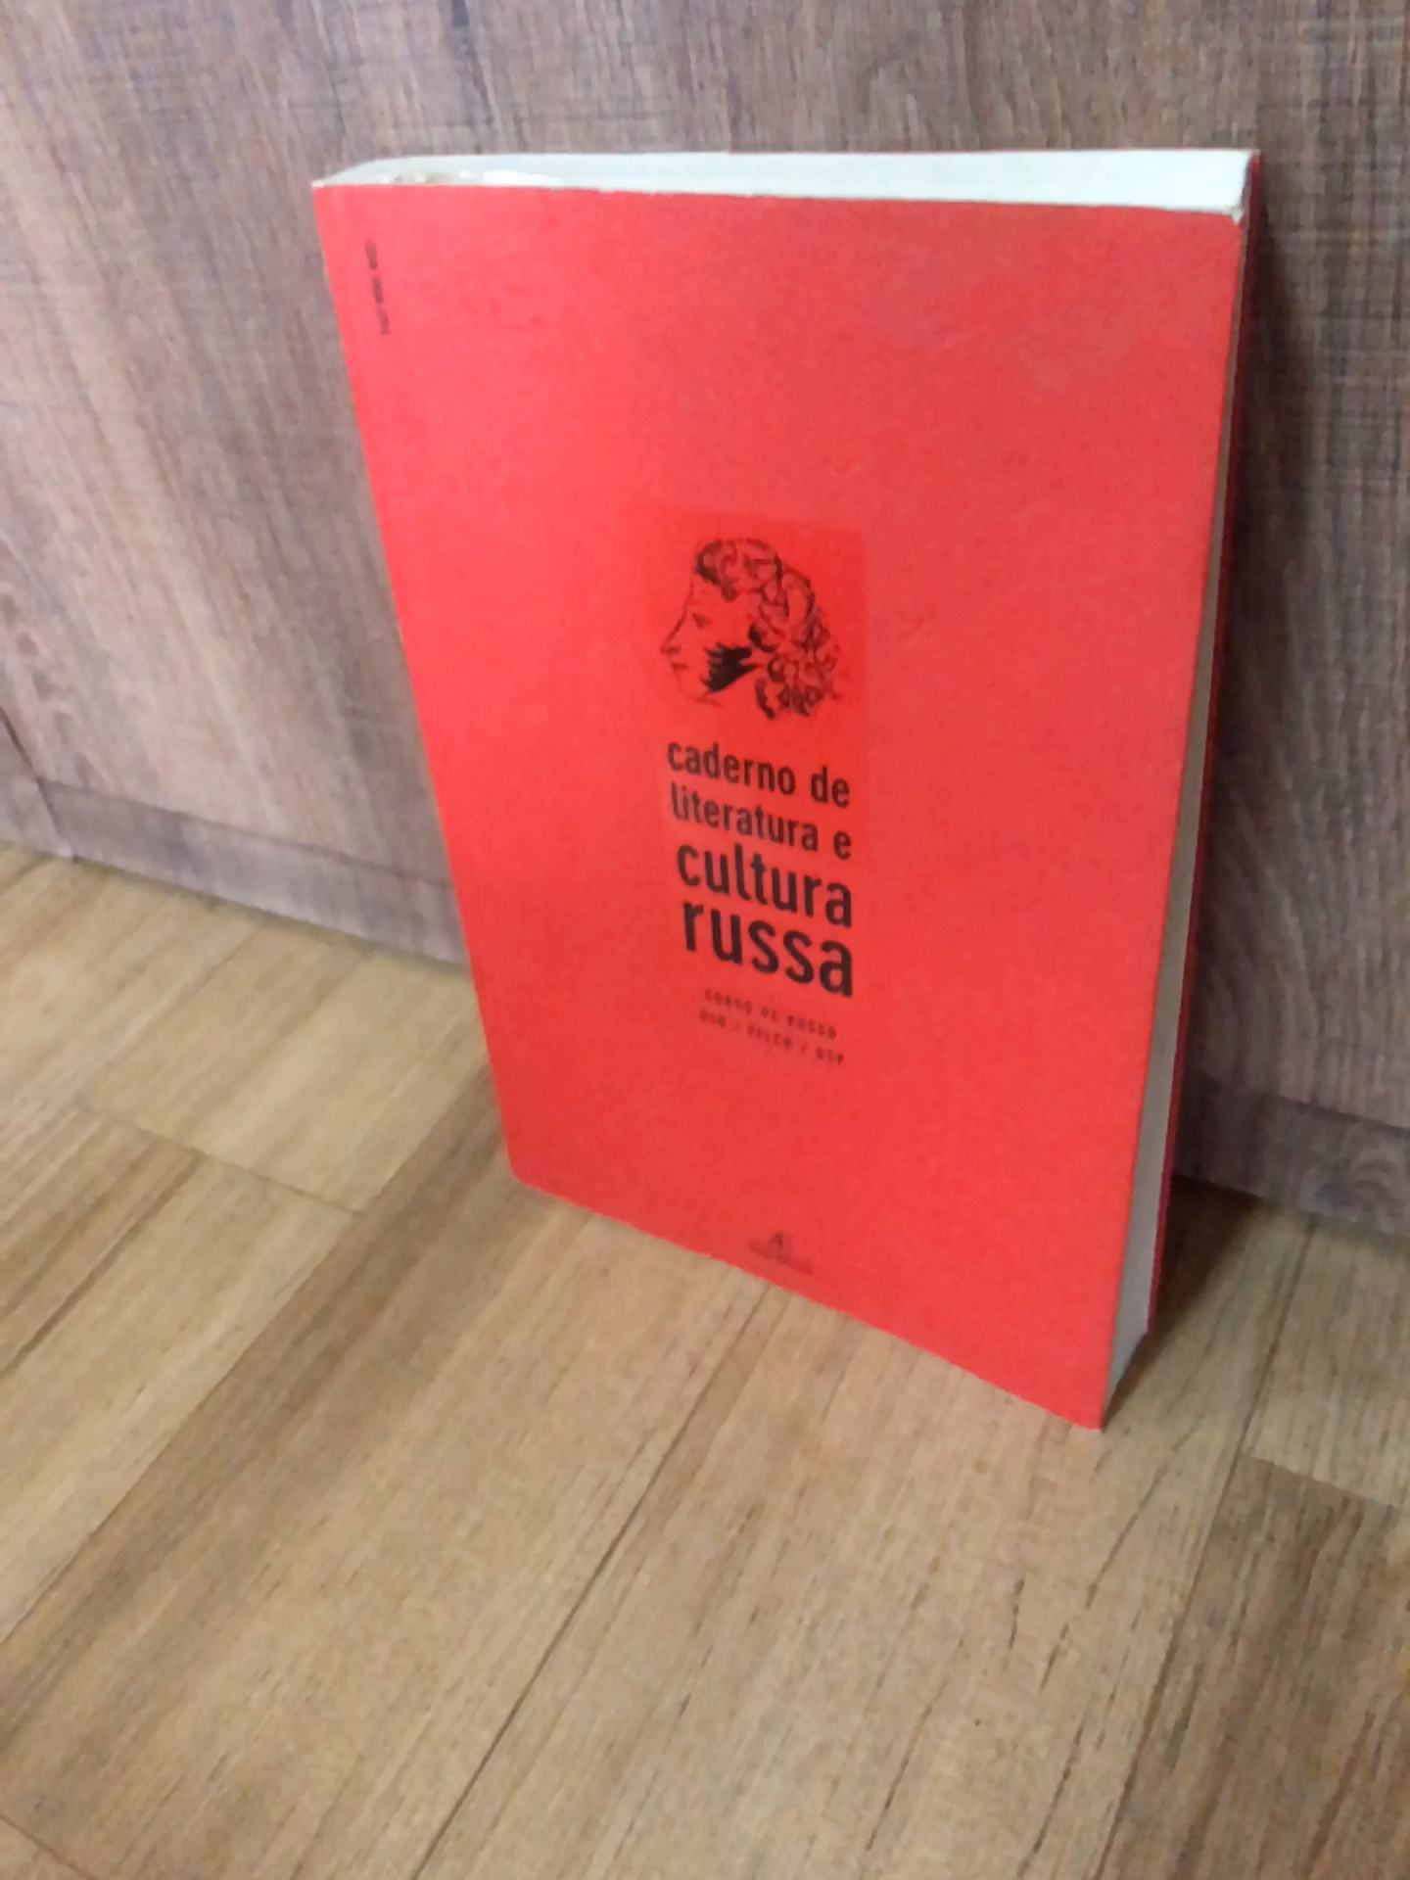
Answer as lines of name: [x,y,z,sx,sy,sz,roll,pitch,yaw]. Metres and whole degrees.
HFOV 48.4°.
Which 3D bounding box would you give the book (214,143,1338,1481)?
book: [0.010,-0.022,0.322,0.188,0.248,0.040,17,40,30]
